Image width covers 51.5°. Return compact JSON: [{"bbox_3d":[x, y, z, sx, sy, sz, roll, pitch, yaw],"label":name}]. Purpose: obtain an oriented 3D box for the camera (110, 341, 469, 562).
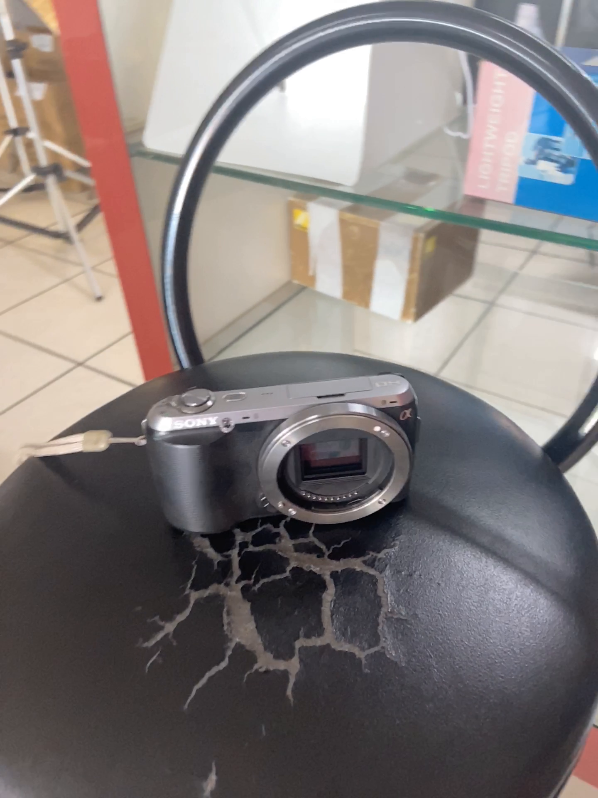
[{"bbox_3d":[-0.003,0.020,0.240,0.120,0.060,0.040,-6,37,-4],"label":"camera"}]
